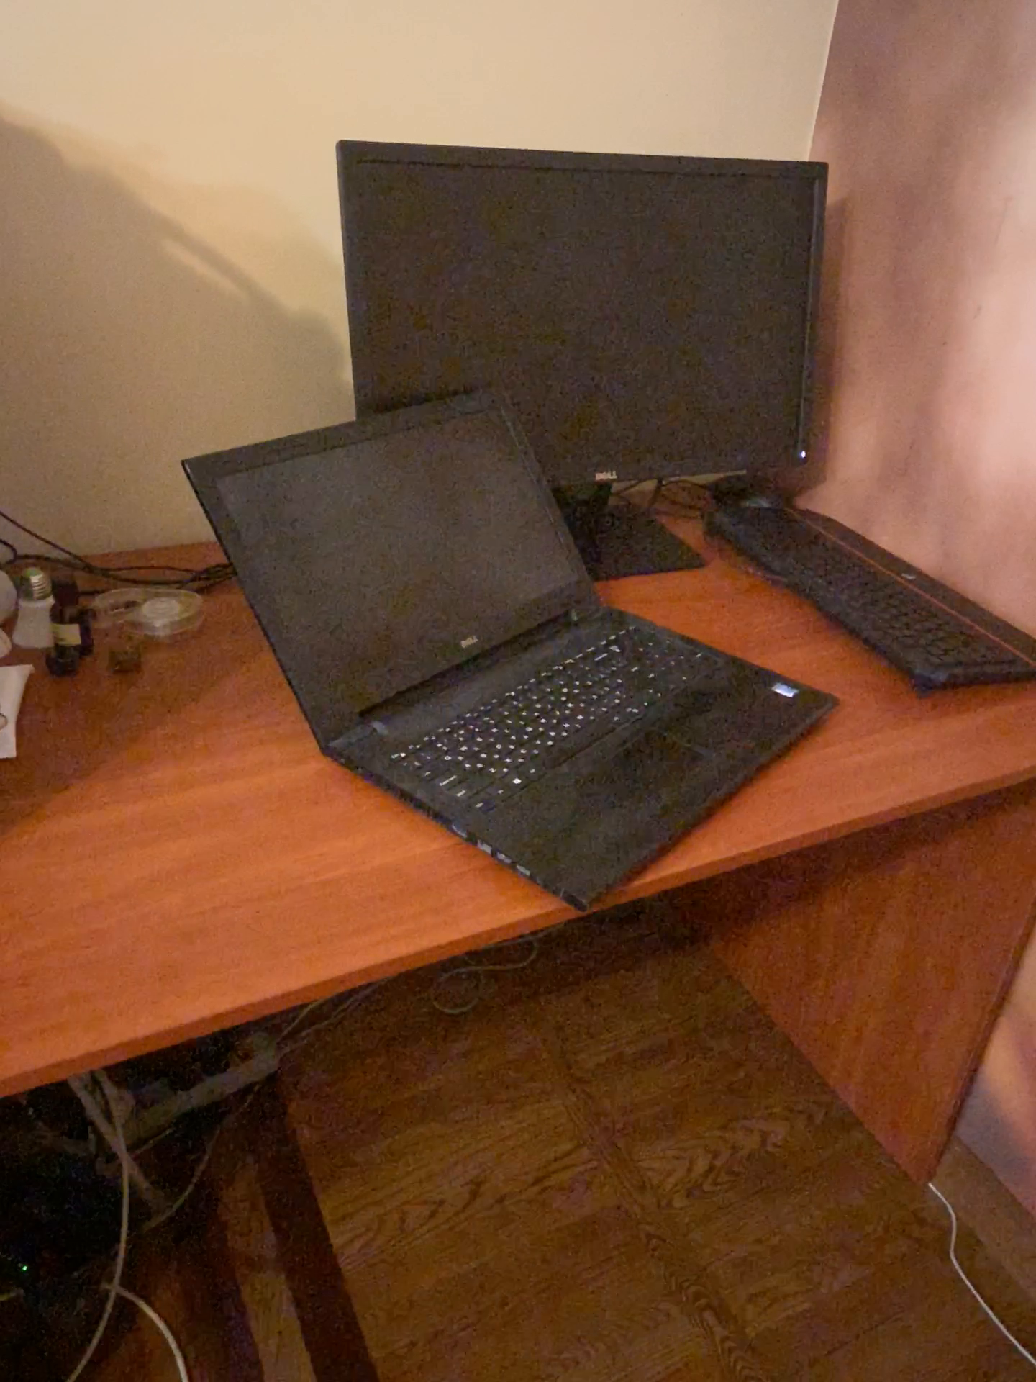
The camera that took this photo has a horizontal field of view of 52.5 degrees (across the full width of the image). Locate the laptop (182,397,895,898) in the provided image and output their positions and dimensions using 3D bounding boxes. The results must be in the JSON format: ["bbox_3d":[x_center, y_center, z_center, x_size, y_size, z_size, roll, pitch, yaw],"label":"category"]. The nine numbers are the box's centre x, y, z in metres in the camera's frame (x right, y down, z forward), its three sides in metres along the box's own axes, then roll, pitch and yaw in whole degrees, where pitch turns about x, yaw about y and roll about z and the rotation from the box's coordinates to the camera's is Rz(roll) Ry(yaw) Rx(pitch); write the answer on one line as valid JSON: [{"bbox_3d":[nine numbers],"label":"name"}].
[{"bbox_3d":[0.014,-0.078,0.830,0.393,0.181,0.357,25,35,33],"label":"laptop"}]
